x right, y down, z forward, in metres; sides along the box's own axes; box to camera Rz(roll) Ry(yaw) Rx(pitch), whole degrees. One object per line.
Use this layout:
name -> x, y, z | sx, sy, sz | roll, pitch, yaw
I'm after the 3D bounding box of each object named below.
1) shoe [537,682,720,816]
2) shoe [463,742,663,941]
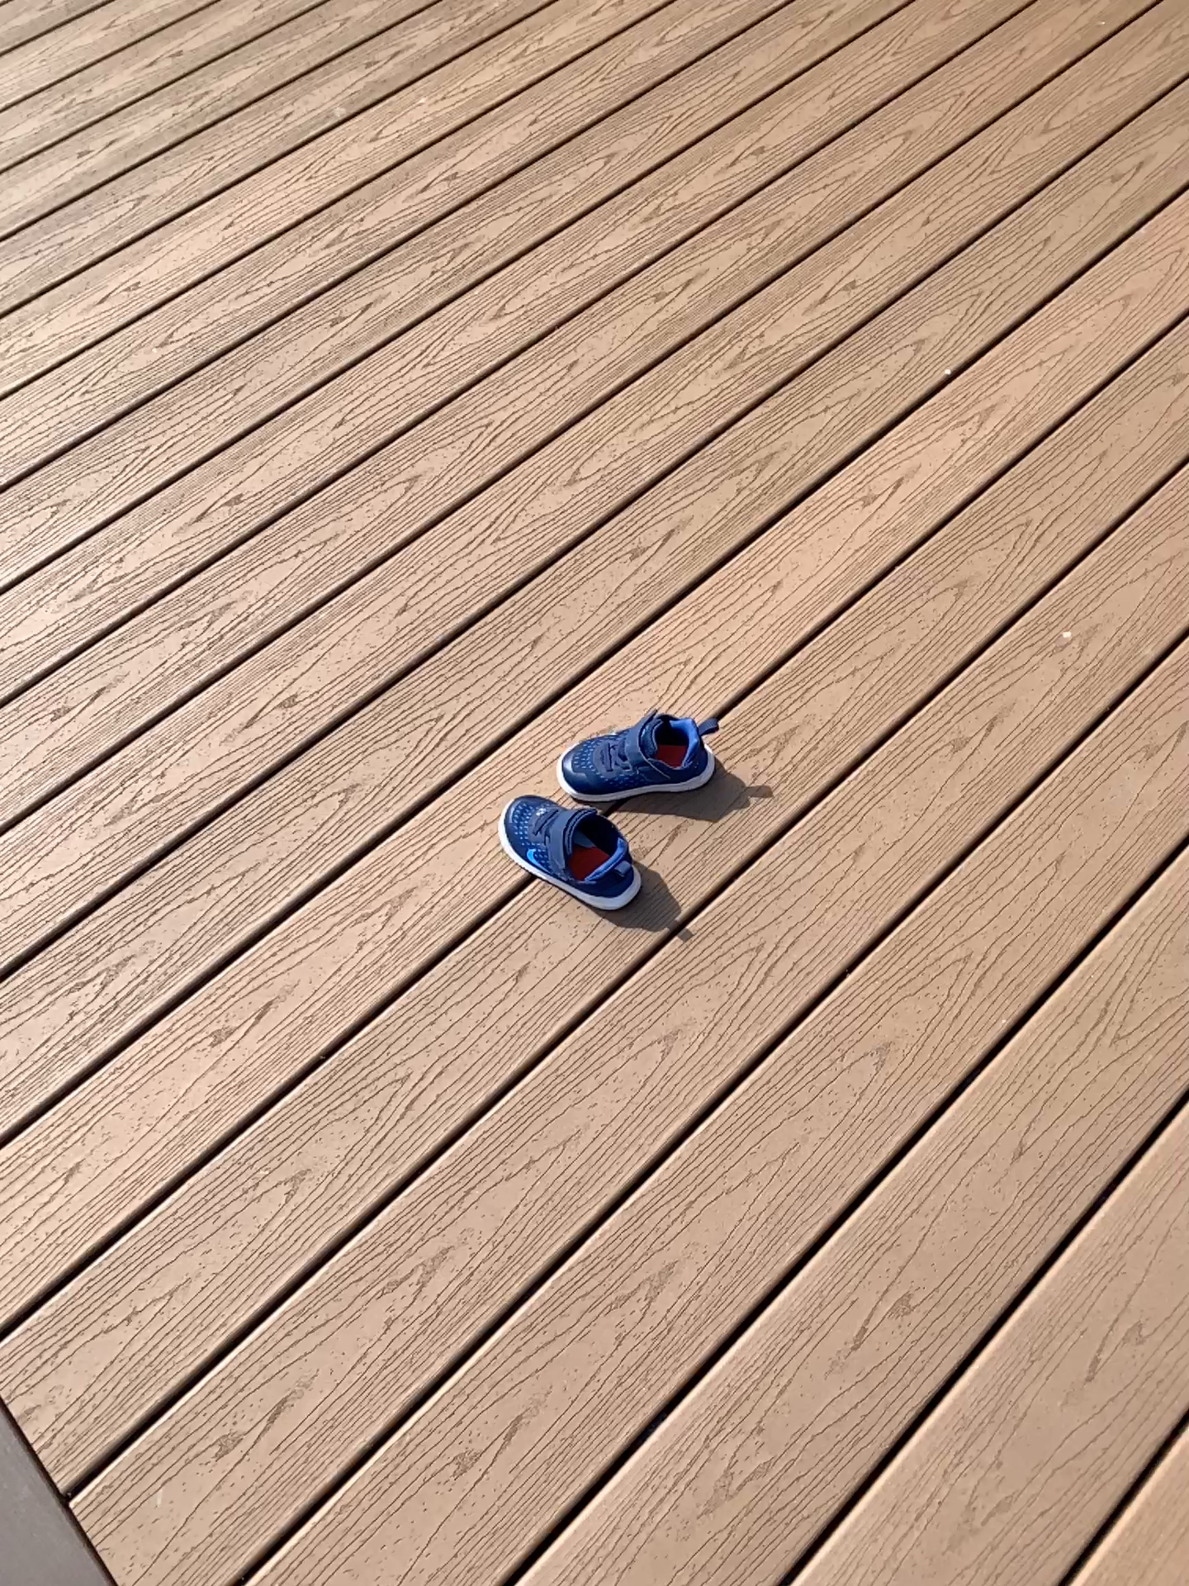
shoe -> 0.034, -0.043, 1.206 | 0.170, 0.090, 0.080 | -6, 60, 1
shoe -> -0.028, 0.046, 1.153 | 0.170, 0.090, 0.080 | 34, 68, 21
